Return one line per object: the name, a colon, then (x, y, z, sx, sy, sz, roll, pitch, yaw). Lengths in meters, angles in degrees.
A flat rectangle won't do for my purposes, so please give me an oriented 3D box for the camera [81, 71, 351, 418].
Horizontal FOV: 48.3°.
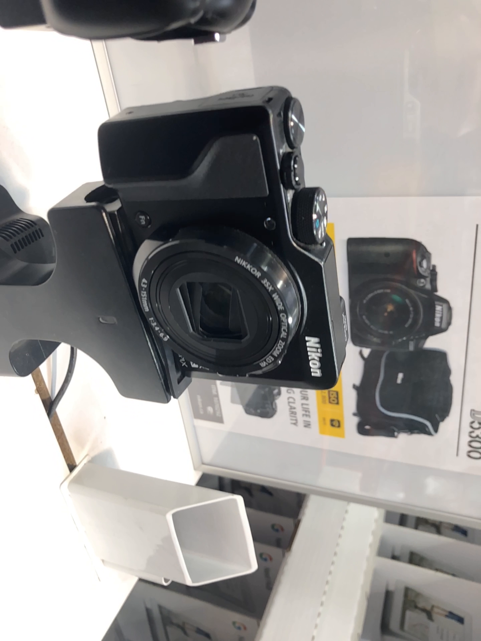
camera: (0.001, -0.022, 0.201, 0.044, 0.069, 0.117, -69, 154, -47)
